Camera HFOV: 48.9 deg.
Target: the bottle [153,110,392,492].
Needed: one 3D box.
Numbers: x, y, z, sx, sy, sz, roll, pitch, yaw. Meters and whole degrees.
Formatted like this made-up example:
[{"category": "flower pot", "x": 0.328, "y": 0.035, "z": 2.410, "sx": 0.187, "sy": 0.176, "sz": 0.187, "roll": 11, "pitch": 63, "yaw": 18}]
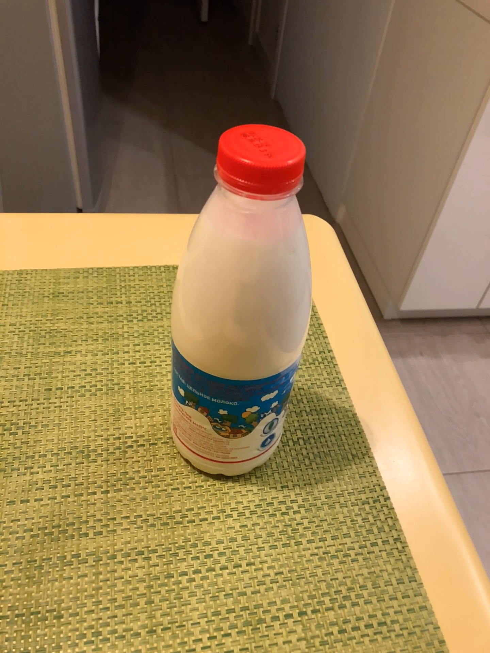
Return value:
[{"category": "bottle", "x": -0.003, "y": -0.003, "z": 0.326, "sx": 0.090, "sy": 0.218, "sz": 0.091, "roll": 4, "pitch": 44, "yaw": -4}]
